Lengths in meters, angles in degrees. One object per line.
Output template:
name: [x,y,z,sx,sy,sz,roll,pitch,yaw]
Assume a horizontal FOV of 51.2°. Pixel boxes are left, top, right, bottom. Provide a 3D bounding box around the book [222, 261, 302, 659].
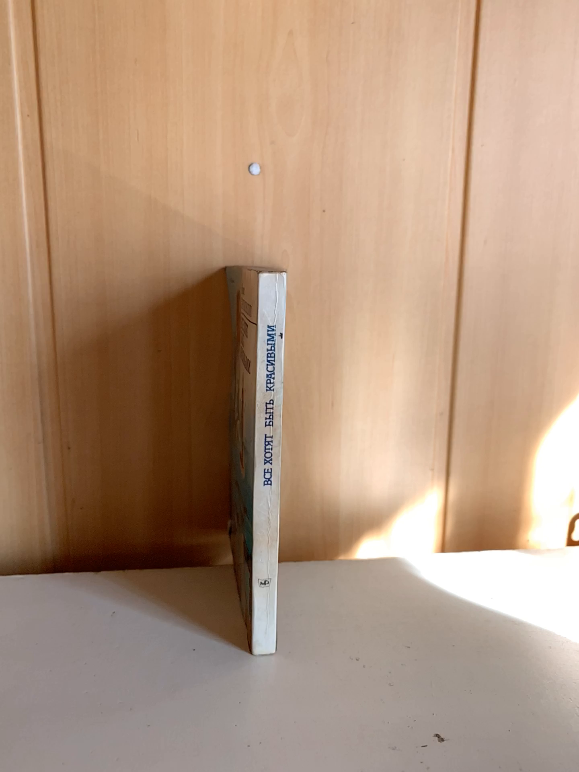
book: [-0.018,0.021,0.296,0.029,0.159,0.125,0,11,-6]
